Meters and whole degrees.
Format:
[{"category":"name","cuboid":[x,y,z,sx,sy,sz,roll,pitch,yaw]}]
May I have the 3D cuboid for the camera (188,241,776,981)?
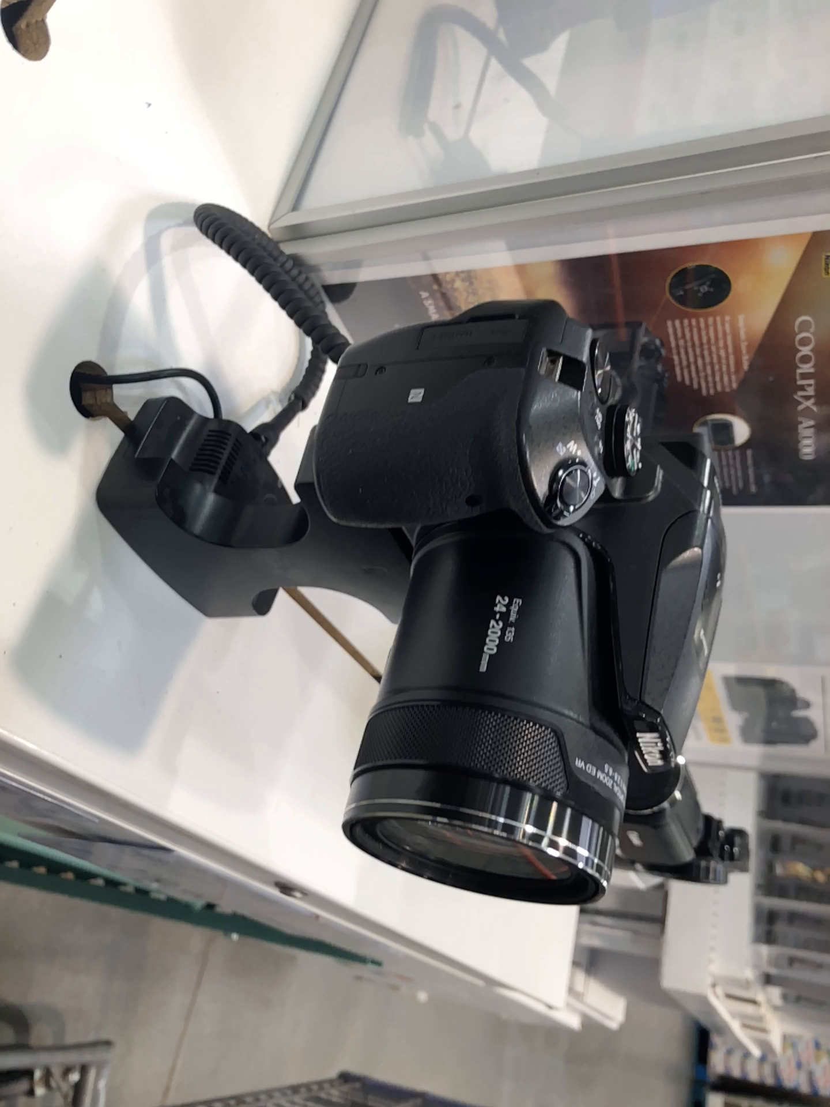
[{"category":"camera","cuboid":[0.042,0.022,0.273,0.141,0.109,0.150,58,39,-49]}]
